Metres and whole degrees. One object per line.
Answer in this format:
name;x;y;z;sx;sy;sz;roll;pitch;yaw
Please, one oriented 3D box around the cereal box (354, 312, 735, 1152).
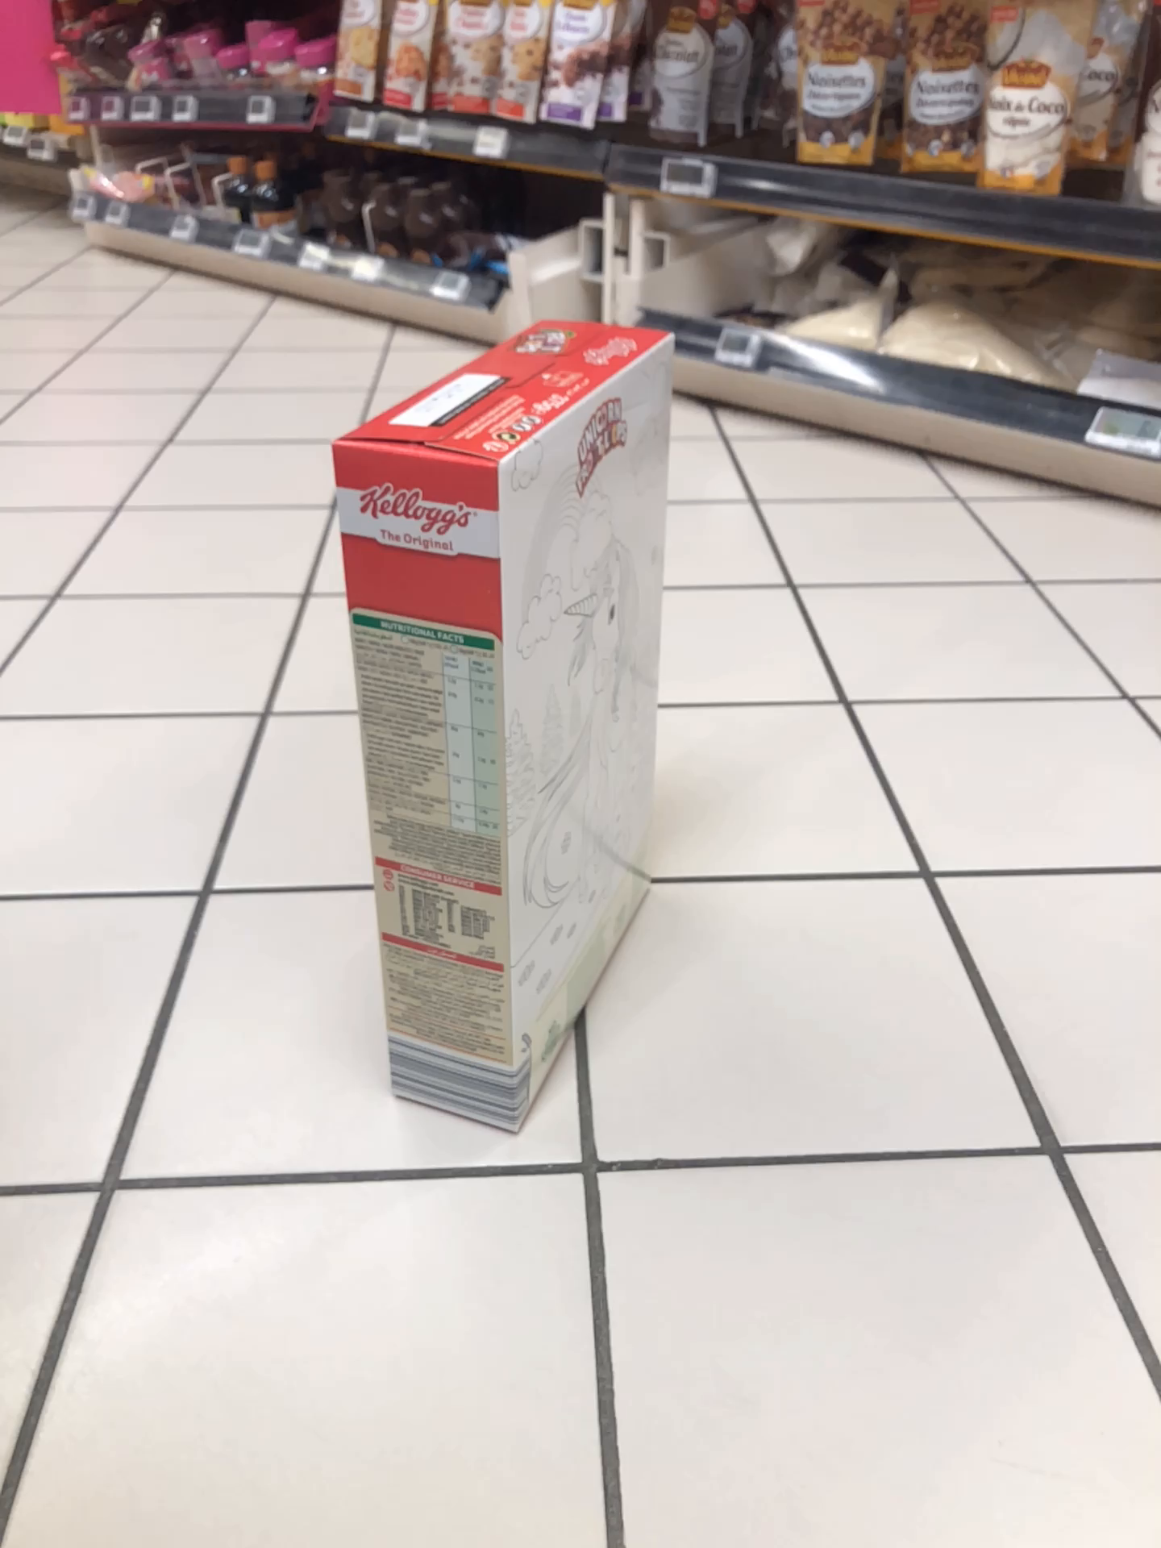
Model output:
cereal box;-0.004;-0.023;0.558;0.070;0.298;0.201;12;33;18
